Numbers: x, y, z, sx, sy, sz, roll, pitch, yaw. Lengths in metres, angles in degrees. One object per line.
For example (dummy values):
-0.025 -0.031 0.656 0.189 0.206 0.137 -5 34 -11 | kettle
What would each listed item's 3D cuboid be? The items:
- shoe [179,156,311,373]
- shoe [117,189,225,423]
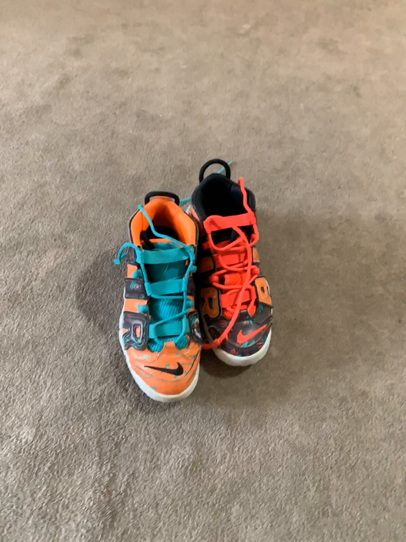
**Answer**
0.039 -0.006 0.513 0.100 0.109 0.231 -9 70 -5 | shoe
-0.043 0.038 0.486 0.100 0.090 0.251 -3 69 -6 | shoe
